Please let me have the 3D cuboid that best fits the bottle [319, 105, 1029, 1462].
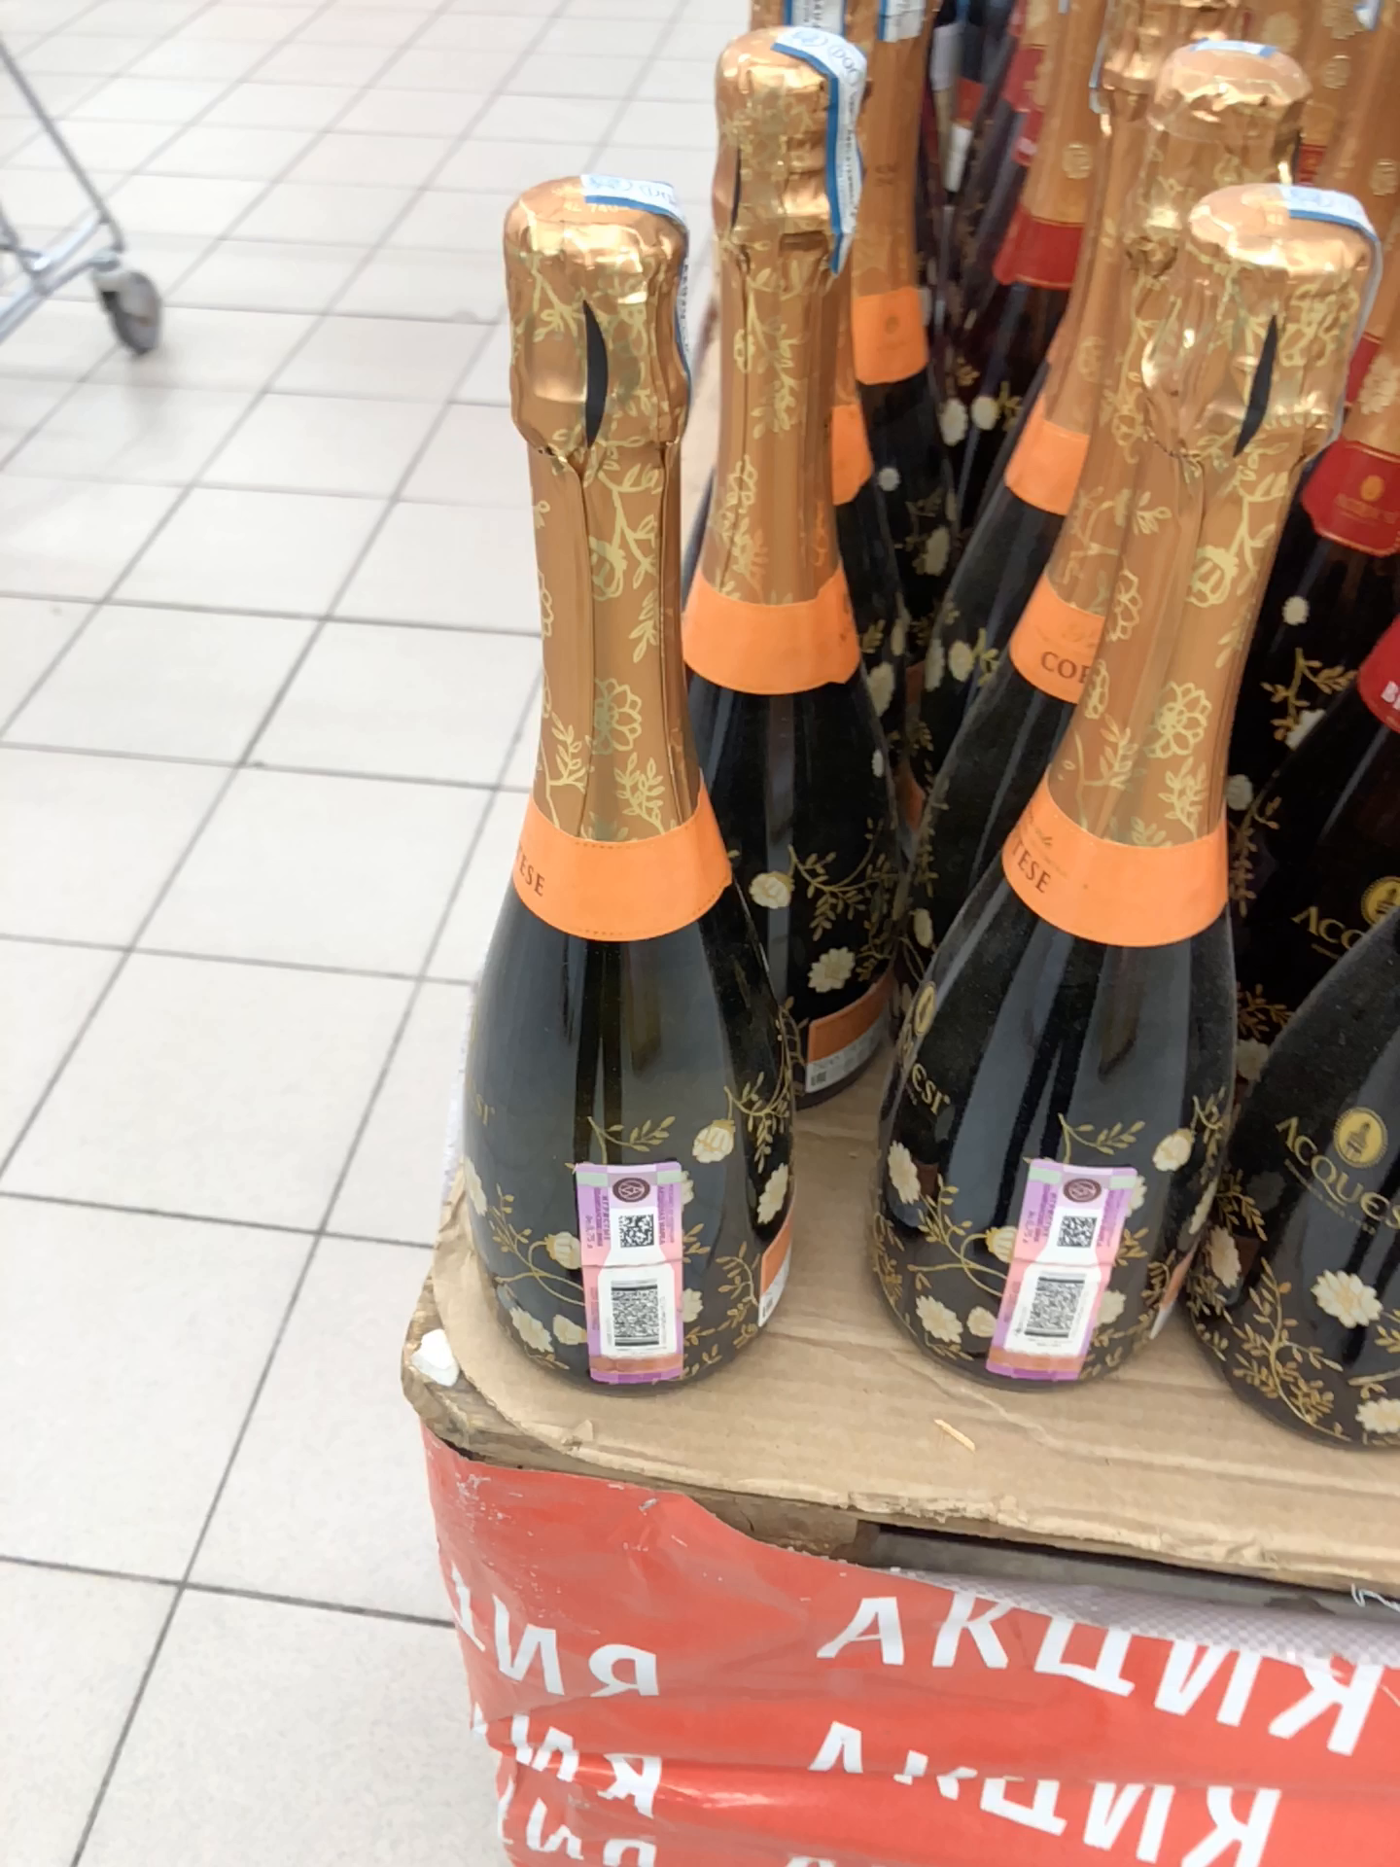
[{"bbox_3d":[-0.006,-0.004,0.364,0.100,0.318,0.101,0,44,0],"label":"bottle"}]
